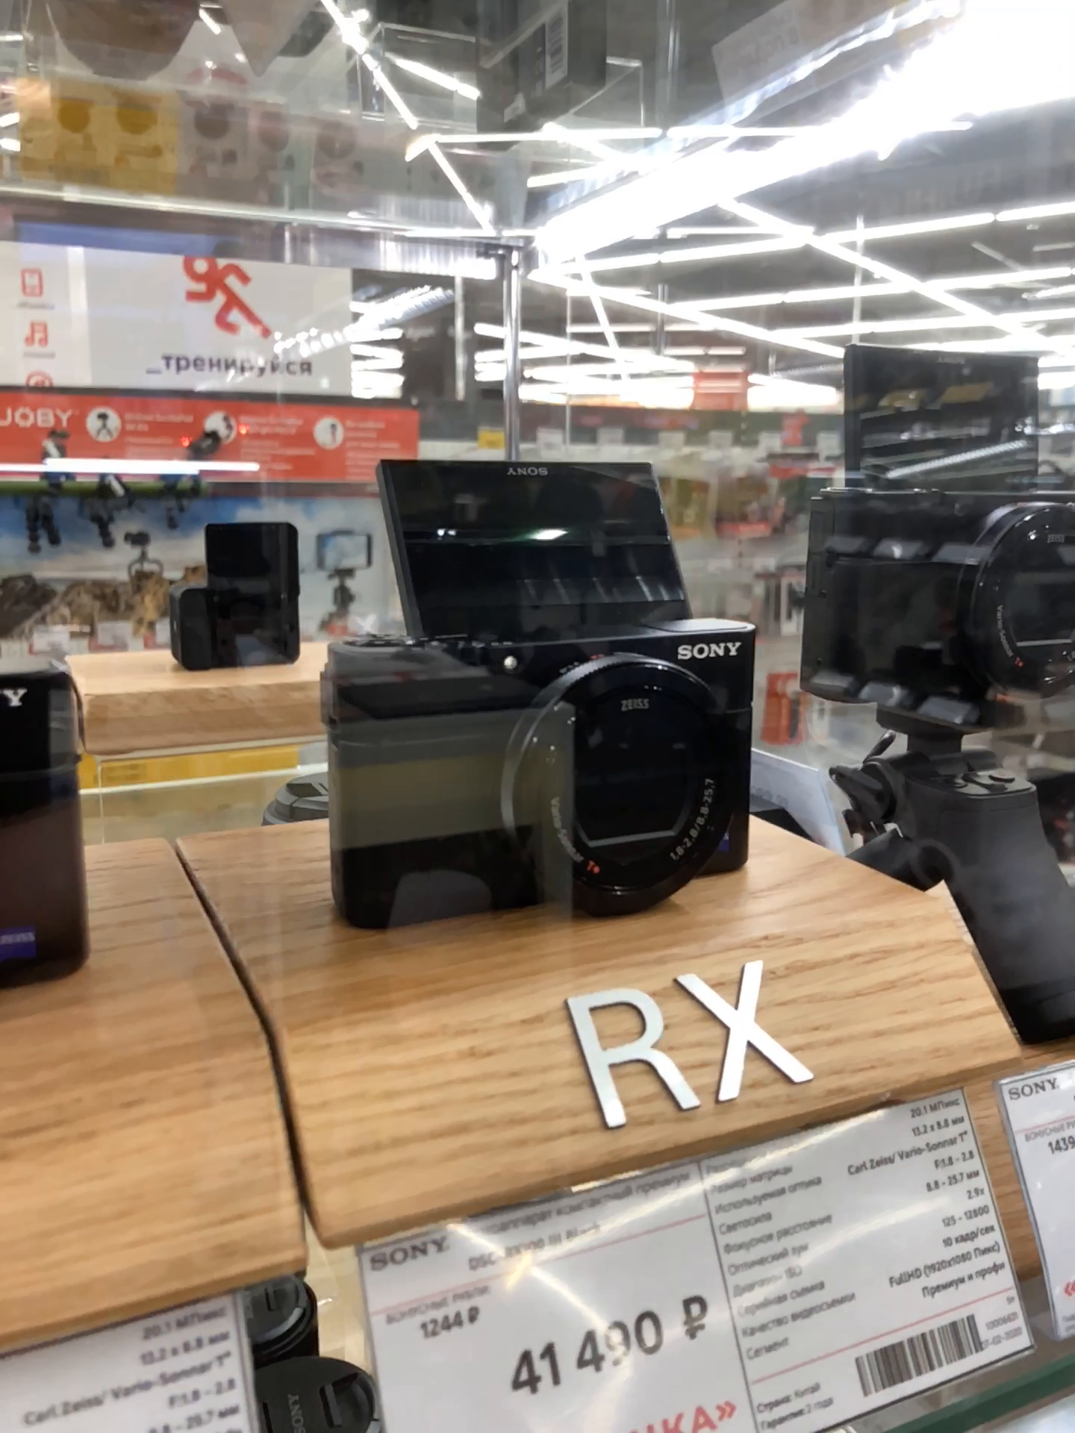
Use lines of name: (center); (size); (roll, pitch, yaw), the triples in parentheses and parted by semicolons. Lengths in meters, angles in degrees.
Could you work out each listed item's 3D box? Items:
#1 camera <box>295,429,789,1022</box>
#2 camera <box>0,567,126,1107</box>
camera: (0.000, -0.003, 0.279); (0.100, 0.120, 0.050); (-4, 11, -24)
camera: (-0.137, 0.009, 0.224); (0.101, 0.067, 0.097); (-4, 11, -24)
